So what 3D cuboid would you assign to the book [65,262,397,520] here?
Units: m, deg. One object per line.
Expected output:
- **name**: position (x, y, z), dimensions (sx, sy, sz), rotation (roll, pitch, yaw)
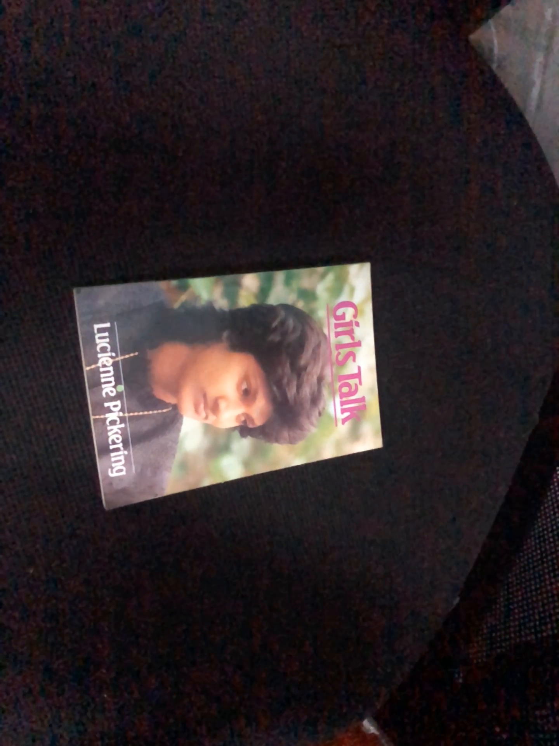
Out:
- **book**: position (-0.018, 0.004, 0.381), dimensions (0.201, 0.010, 0.130), rotation (-8, 100, -23)
